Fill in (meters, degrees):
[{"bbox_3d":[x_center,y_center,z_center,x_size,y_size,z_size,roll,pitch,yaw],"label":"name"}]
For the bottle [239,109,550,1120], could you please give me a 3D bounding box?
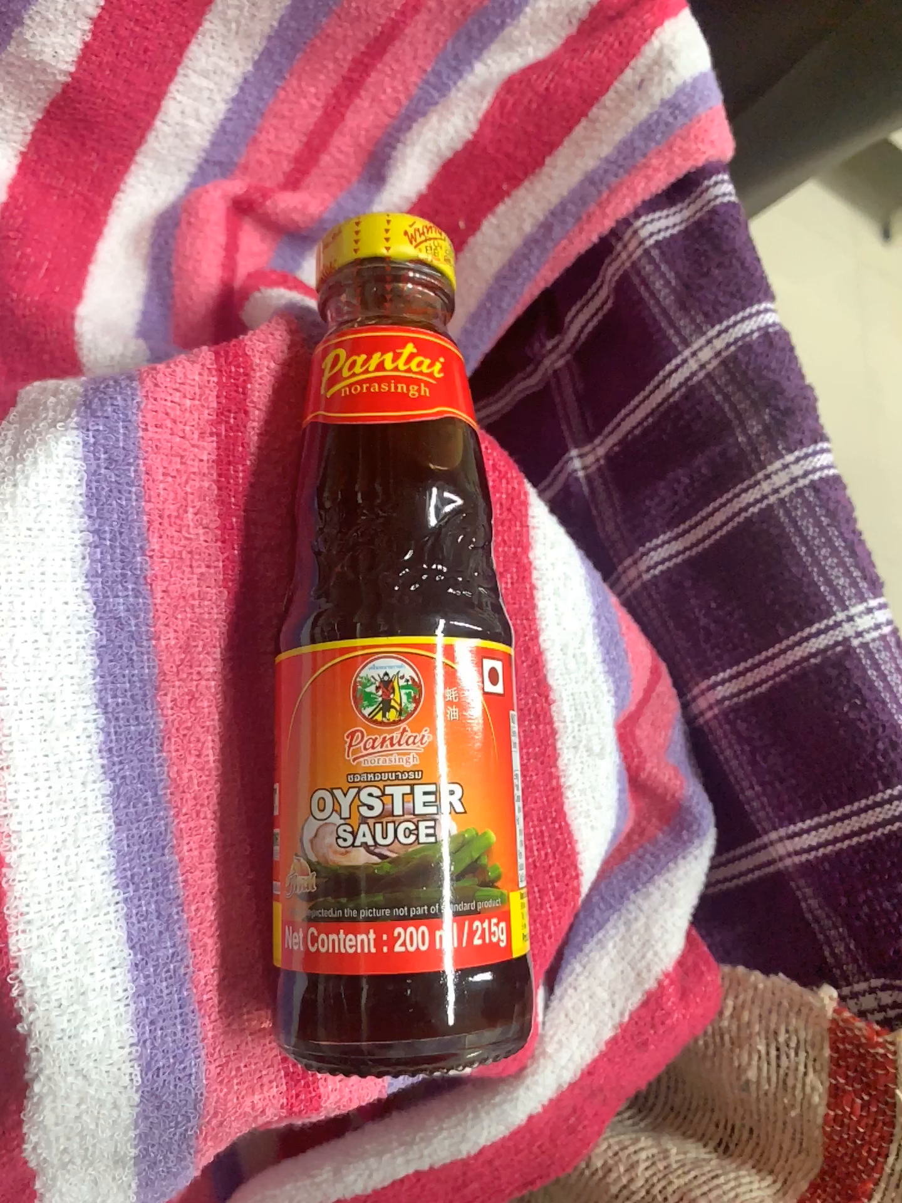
[{"bbox_3d":[-0.013,-0.004,0.199,0.050,0.050,0.190,-2,76,-1],"label":"bottle"}]
